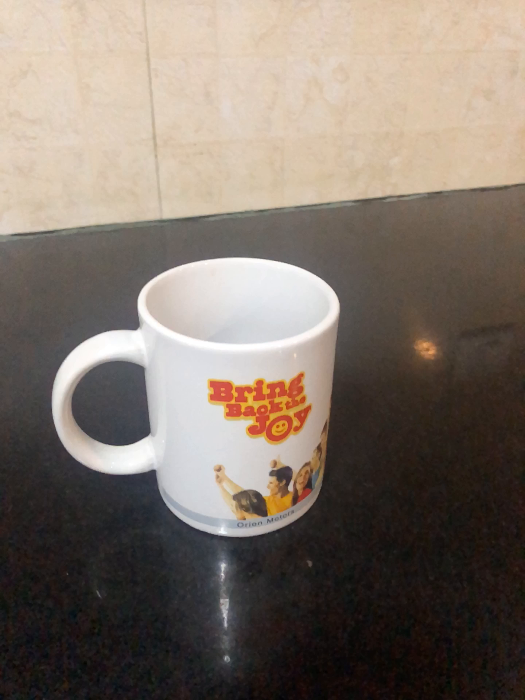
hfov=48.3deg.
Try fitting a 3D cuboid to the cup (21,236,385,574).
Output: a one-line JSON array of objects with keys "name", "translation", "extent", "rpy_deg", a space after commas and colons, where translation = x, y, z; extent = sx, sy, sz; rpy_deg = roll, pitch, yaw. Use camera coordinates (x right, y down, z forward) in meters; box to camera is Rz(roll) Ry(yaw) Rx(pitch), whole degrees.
[{"name": "cup", "translation": [-0.026, 0.018, 0.250], "extent": [0.120, 0.099, 0.081], "rpy_deg": [-7, 32, -12]}]
